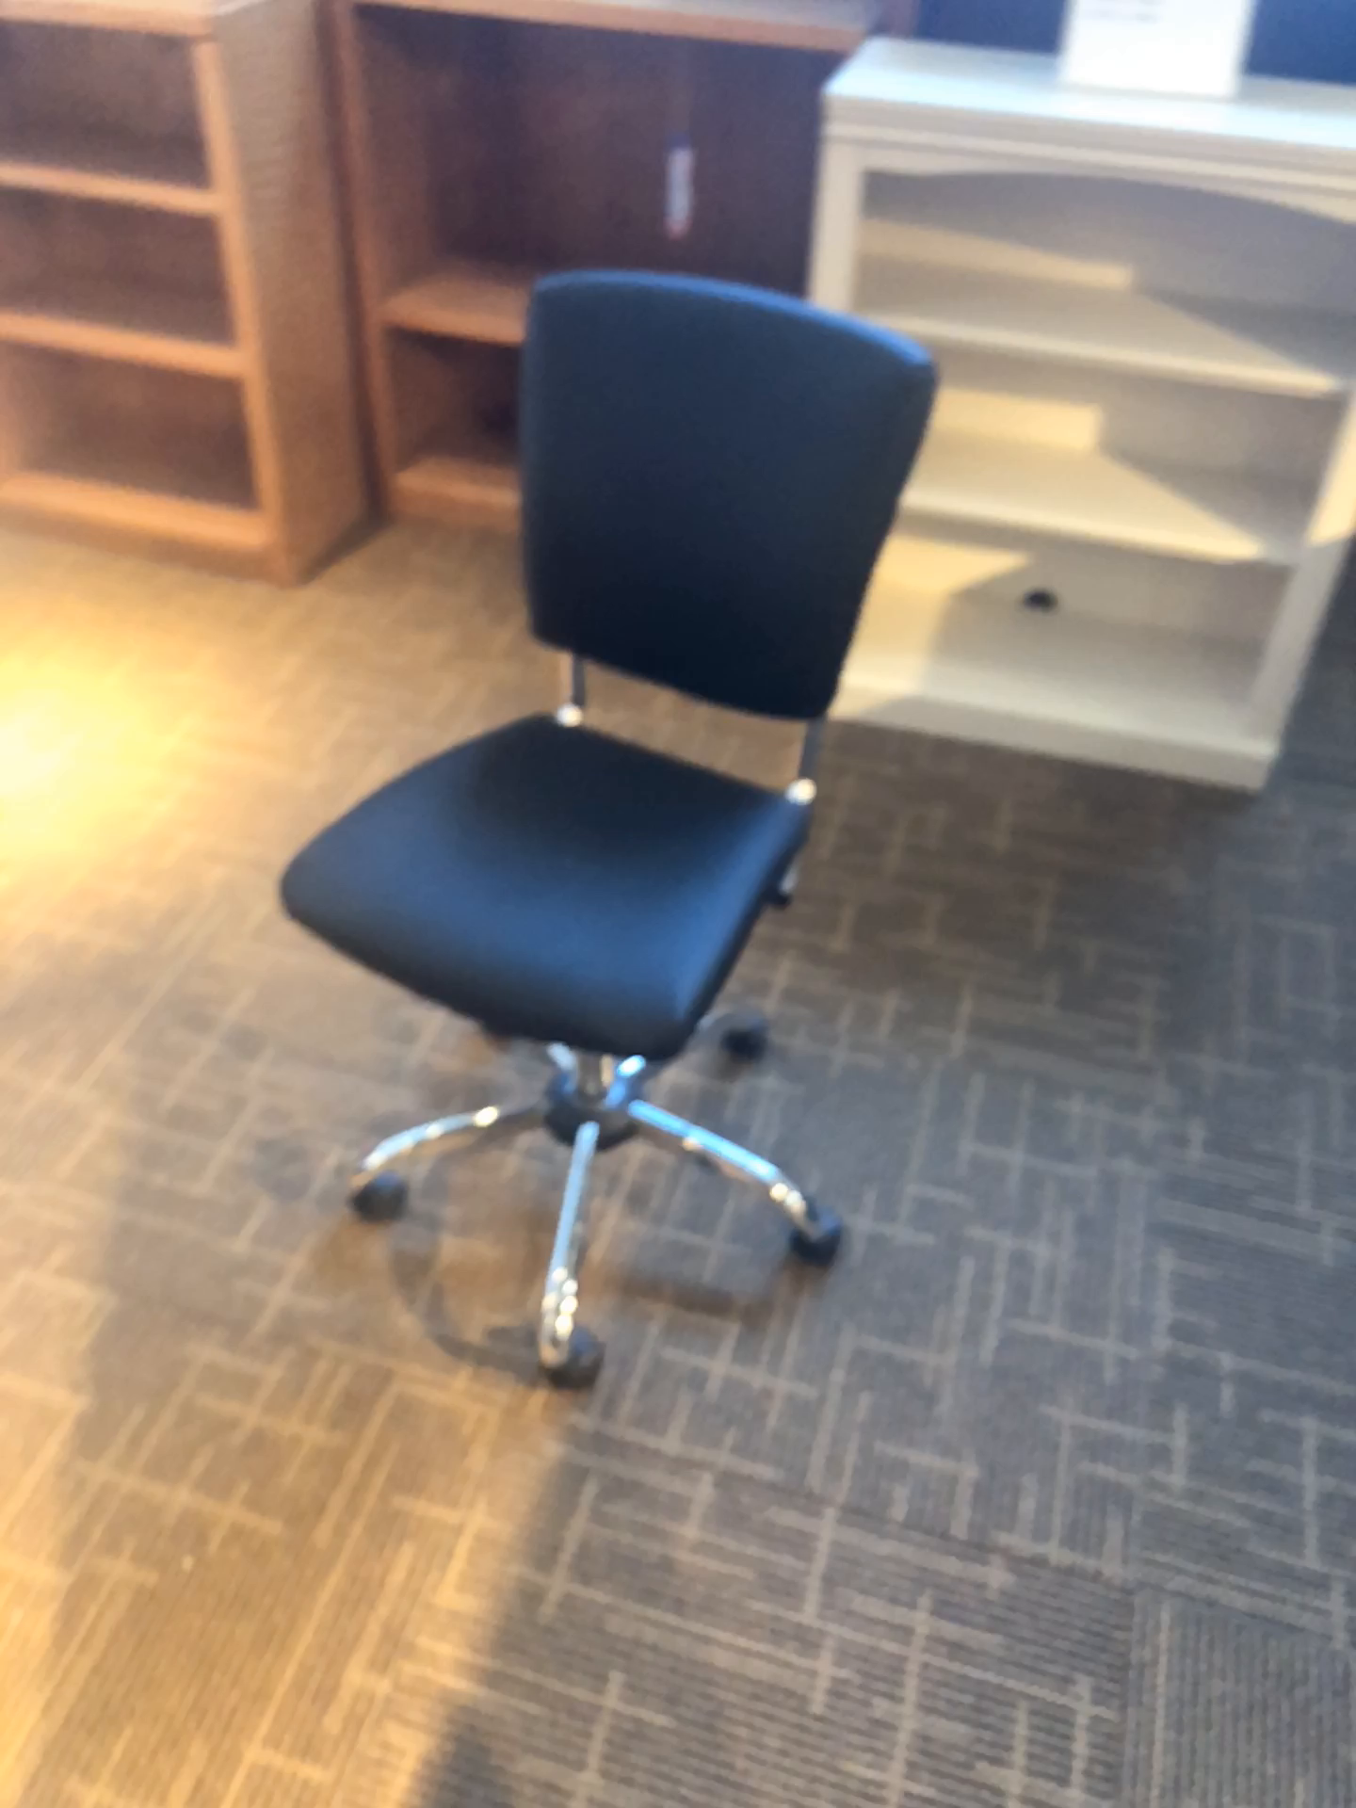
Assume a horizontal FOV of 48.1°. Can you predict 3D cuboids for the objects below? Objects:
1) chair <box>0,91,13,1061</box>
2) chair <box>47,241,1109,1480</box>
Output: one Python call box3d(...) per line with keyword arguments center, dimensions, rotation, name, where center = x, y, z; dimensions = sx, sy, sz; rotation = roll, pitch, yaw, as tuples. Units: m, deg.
box3d(center=(-1.351, -0.384, 1.833), dimensions=(0.607, 0.916, 0.586), rotation=(8, 41, 7), name="chair")
box3d(center=(-0.050, -0.057, 1.418), dimensions=(0.573, 0.826, 0.610), rotation=(20, 43, 20), name="chair")
